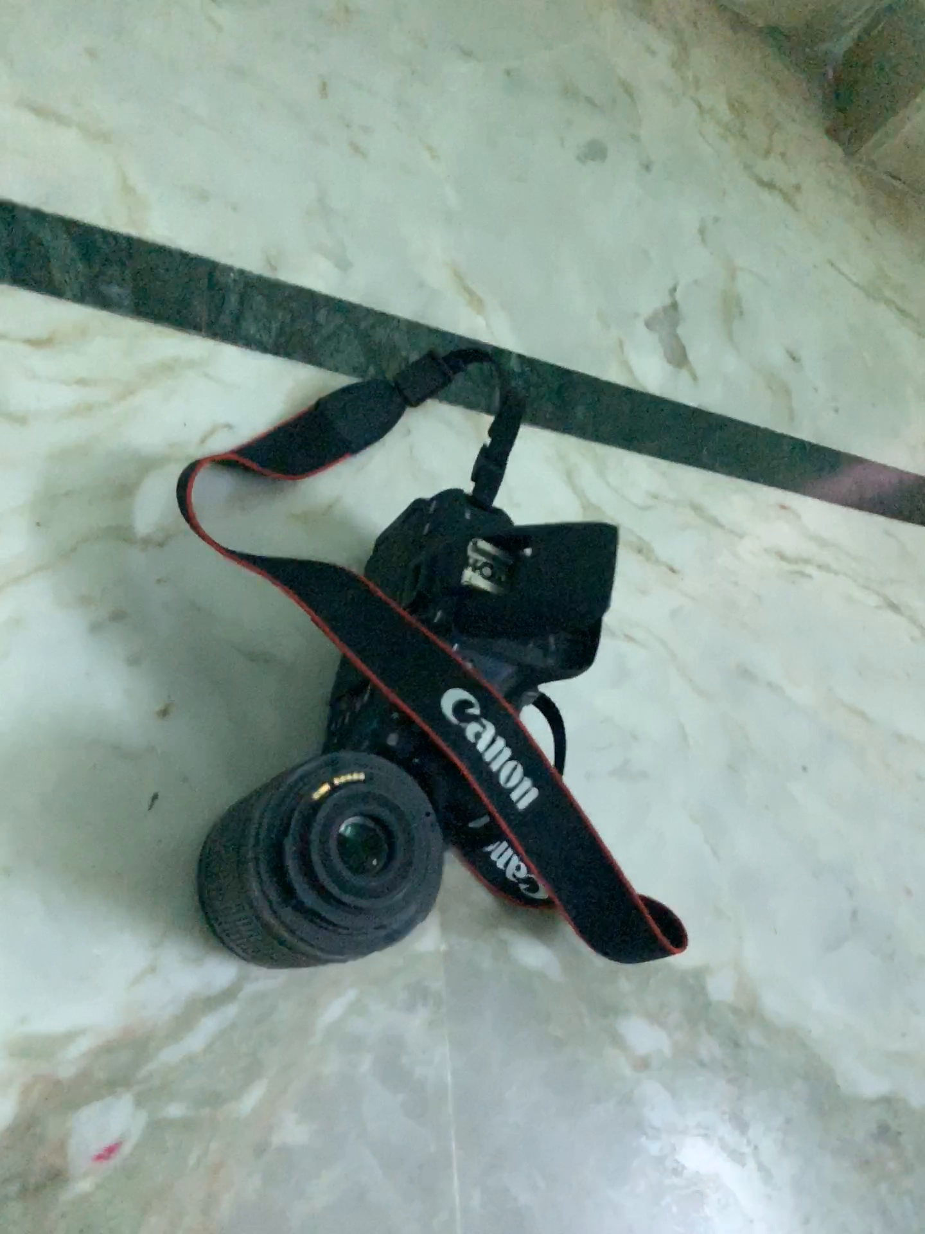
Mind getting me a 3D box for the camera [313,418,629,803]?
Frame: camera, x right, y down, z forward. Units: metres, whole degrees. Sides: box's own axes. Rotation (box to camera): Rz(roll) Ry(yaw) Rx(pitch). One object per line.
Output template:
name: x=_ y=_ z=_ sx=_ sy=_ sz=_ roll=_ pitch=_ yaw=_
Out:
camera: x=0.005 y=0.001 z=0.377 sx=0.082 sy=0.078 sz=0.112 roll=23 pitch=59 yaw=-21
